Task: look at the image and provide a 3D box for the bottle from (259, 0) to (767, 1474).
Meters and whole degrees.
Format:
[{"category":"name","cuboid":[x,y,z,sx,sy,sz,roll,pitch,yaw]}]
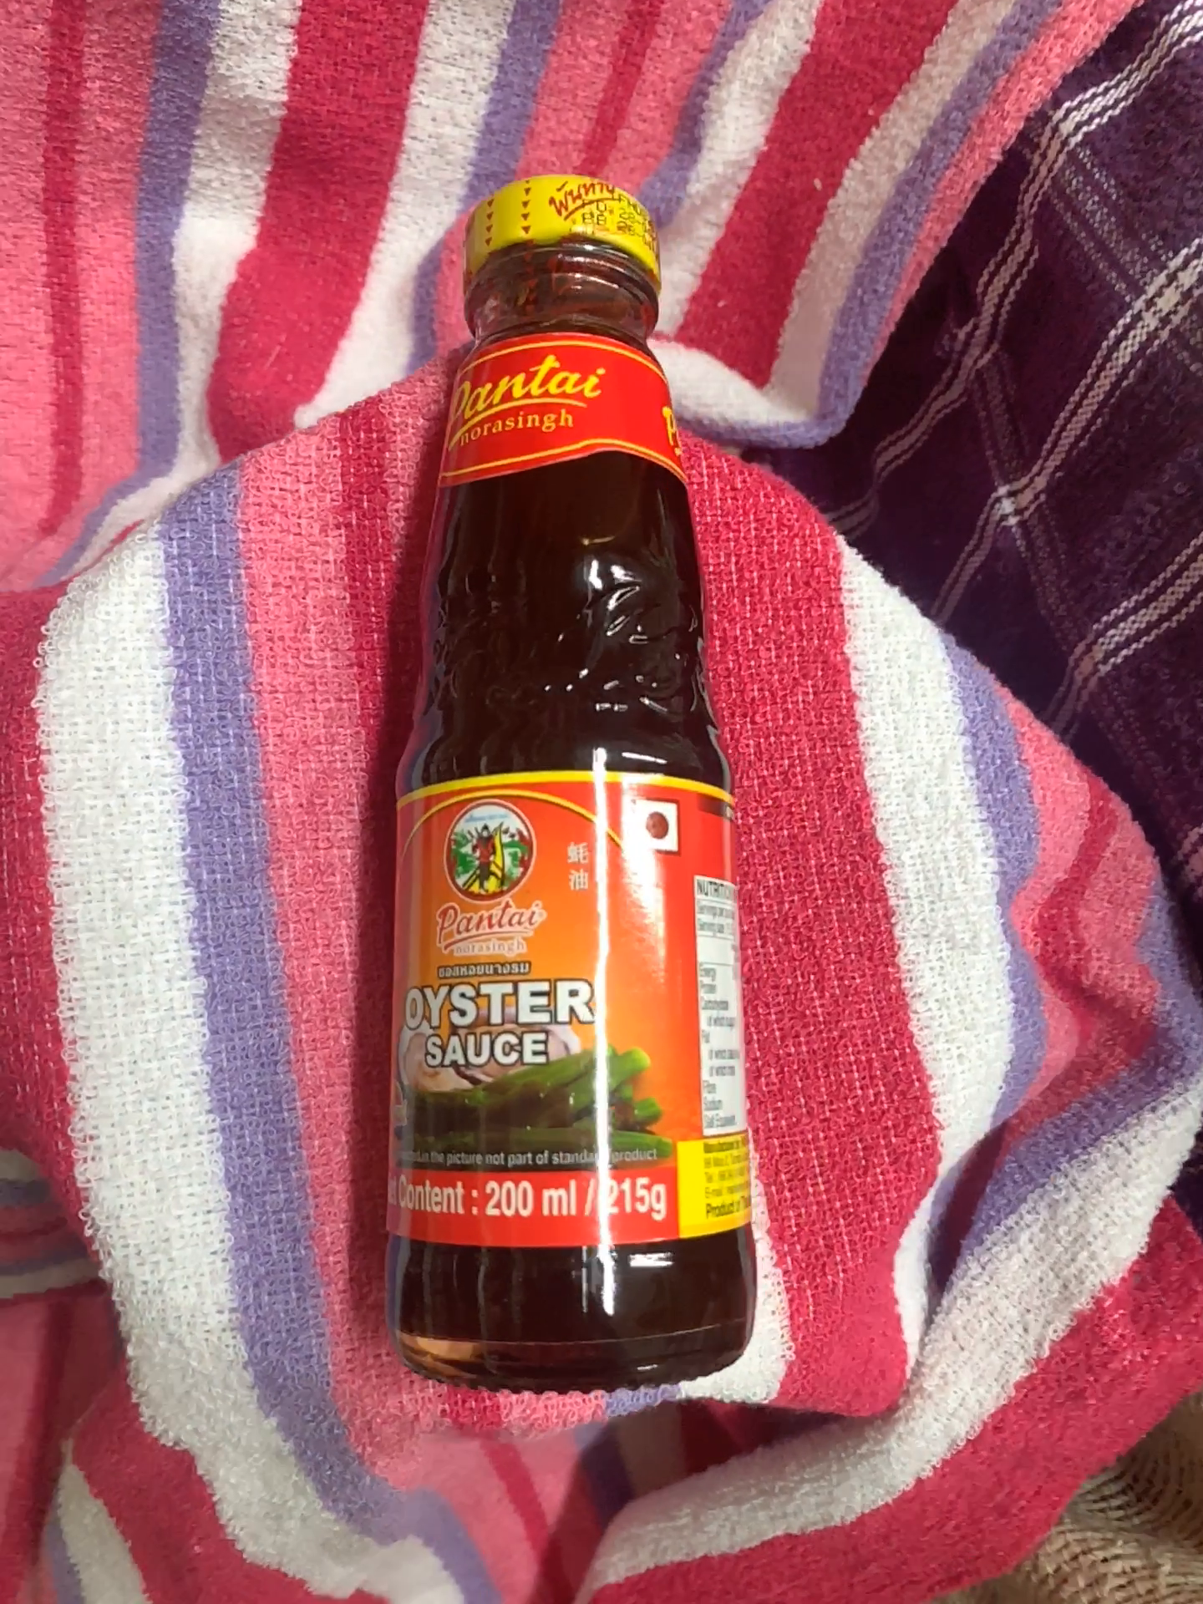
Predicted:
[{"category":"bottle","cuboid":[-0.010,-0.014,0.186,0.050,0.050,0.190,-5,77,22]}]
